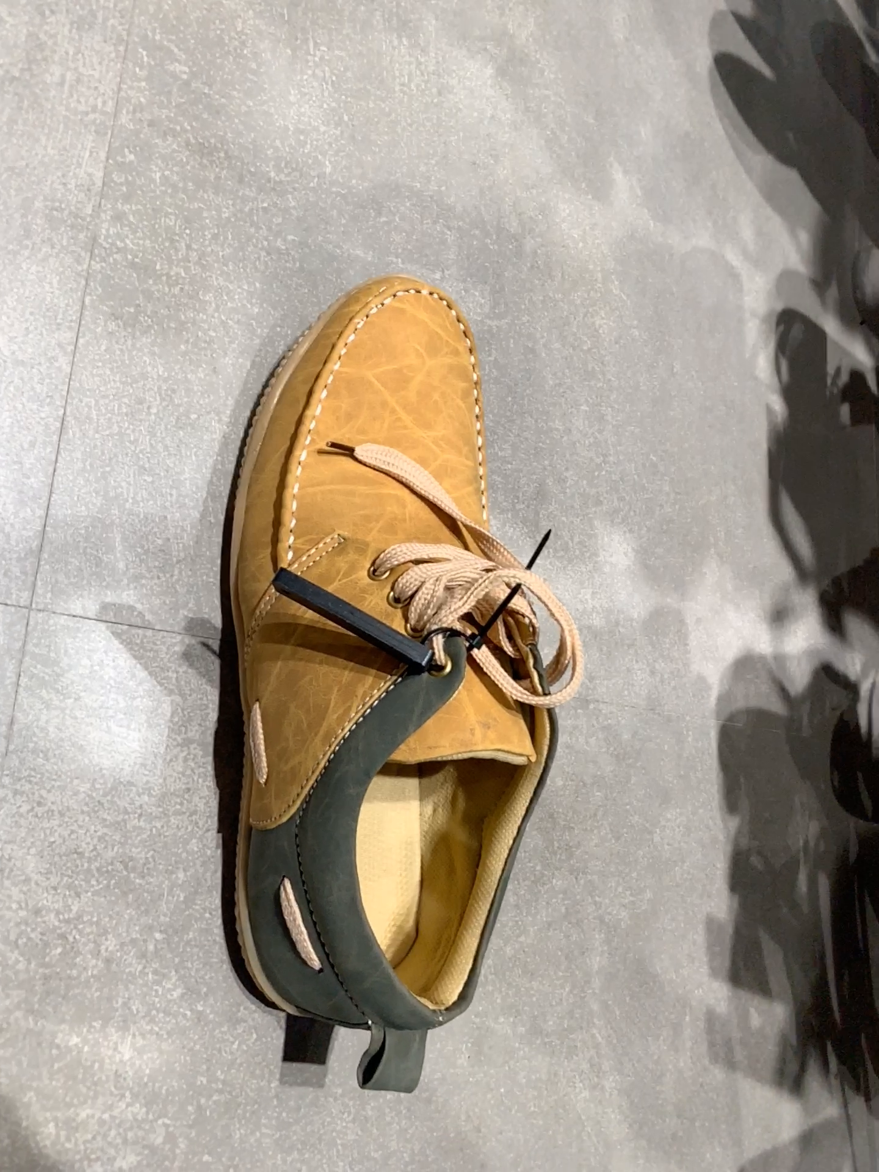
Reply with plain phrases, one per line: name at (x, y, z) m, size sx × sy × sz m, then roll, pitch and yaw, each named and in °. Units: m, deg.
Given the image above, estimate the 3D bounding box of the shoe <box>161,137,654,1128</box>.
shoe at (-0.008, 0.014, 0.318) m, size 0.112 × 0.116 × 0.267 m, roll 12°, pitch 75°, yaw -38°
